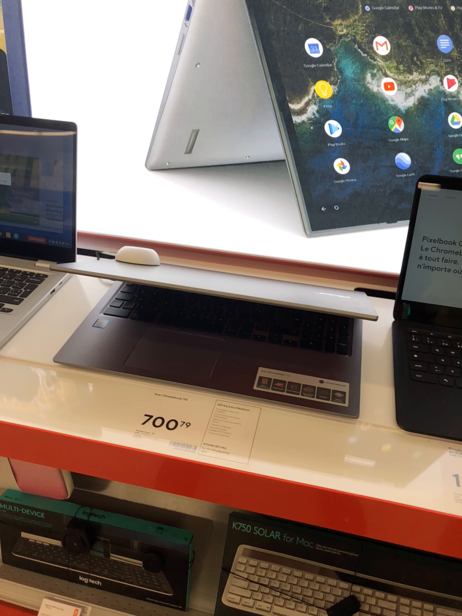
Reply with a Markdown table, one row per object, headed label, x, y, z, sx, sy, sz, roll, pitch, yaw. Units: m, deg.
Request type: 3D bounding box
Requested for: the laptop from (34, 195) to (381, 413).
| label | x | y | z | sx | sy | sz | roll | pitch | yaw |
| --- | --- | --- | --- | --- | --- | --- | --- | --- | --- |
| laptop | -0.006 | -0.025 | 0.653 | 0.368 | 0.109 | 0.245 | 9 | 36 | 8 |
